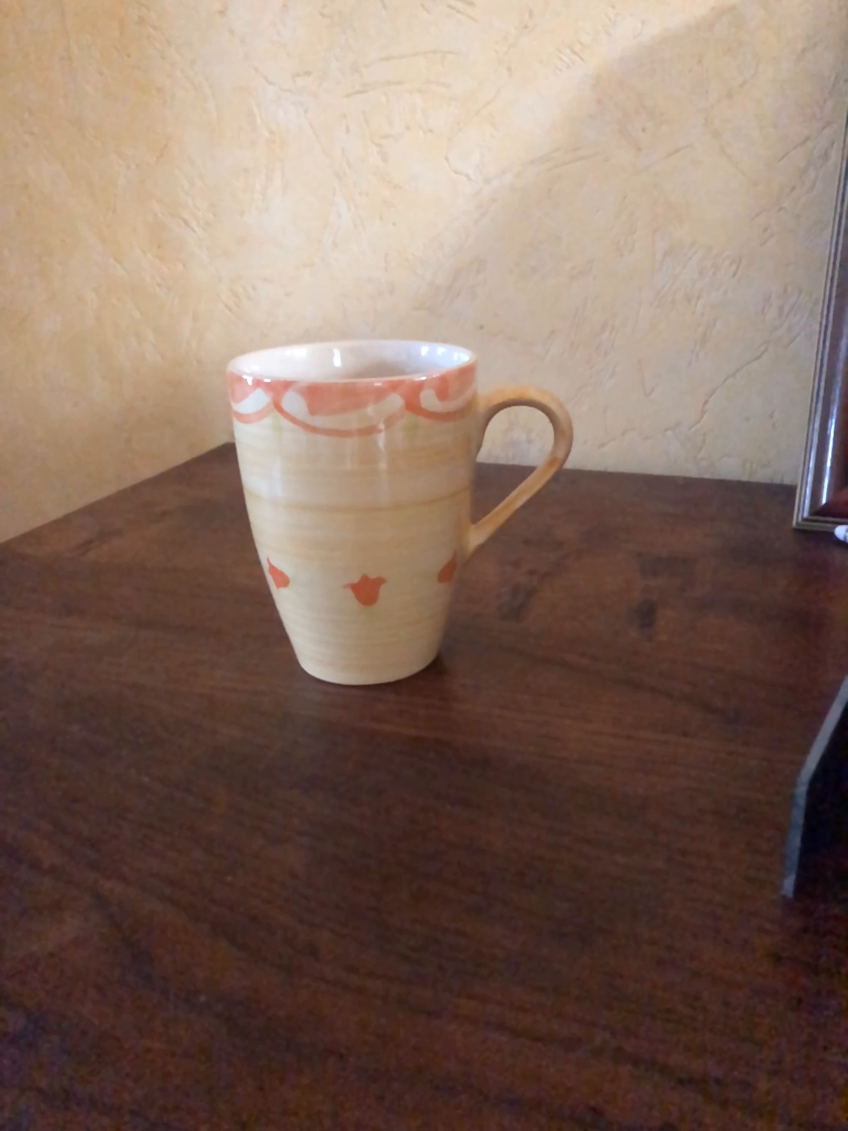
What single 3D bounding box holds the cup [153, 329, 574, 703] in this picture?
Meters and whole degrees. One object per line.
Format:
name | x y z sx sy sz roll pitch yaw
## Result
cup | -0.016 -0.023 0.331 0.120 0.100 0.100 -3 21 -1
